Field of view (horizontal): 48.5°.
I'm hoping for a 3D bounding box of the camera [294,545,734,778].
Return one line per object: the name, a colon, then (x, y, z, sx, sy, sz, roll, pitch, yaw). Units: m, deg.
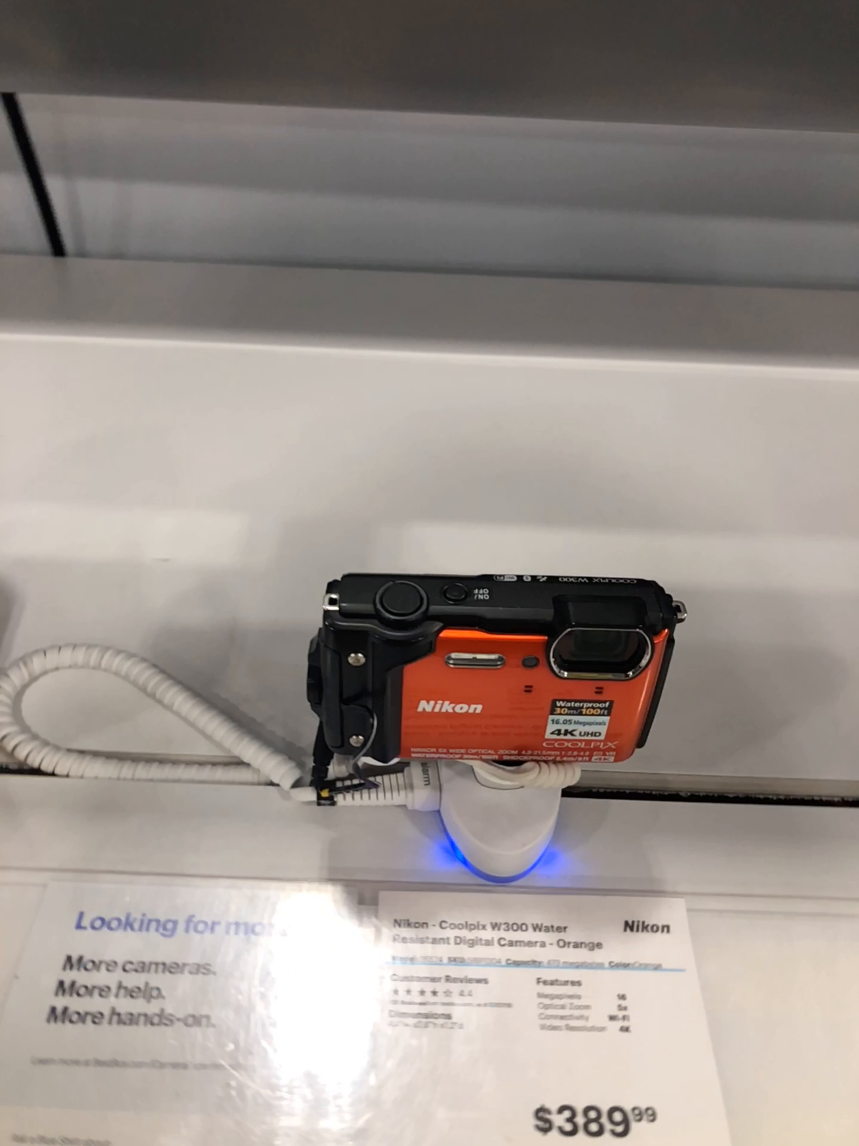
camera: (0.022, 0.028, 0.294, 0.120, 0.060, 0.040, 1, 41, -2)
